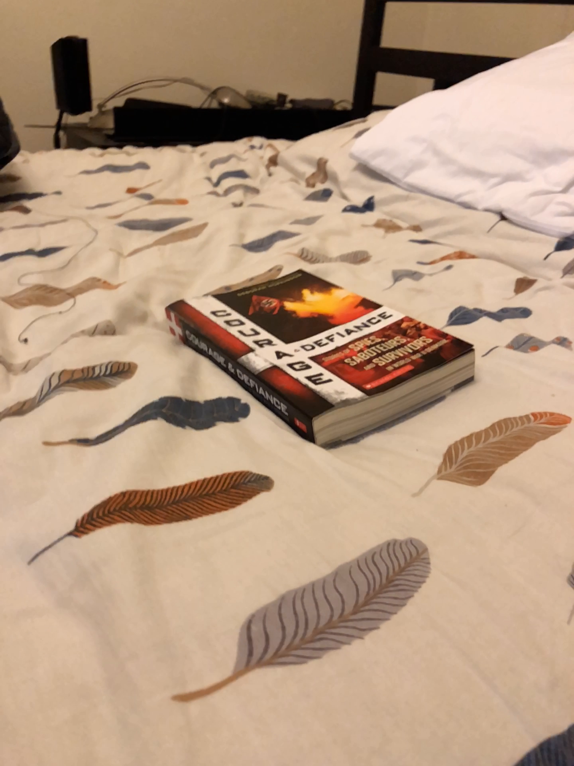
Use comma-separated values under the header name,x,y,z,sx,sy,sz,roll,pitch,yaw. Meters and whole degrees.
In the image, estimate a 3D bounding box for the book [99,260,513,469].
name,x,y,z,sx,sy,sz,roll,pitch,yaw
book,0.005,-0.035,0.462,0.201,0.020,0.231,-16,34,-34
